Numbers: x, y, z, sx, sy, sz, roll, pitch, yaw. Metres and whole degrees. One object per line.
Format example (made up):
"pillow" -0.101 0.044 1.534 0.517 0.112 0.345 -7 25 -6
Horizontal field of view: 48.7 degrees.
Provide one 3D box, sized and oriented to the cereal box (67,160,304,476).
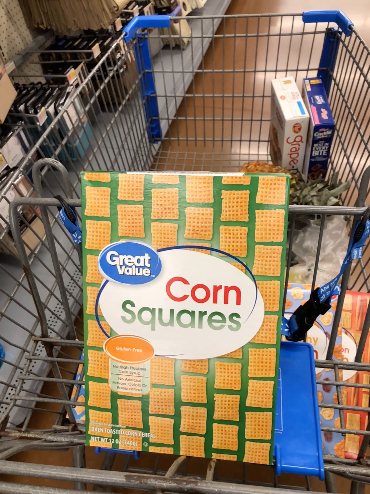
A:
"cereal box" -0.001 0.061 0.398 0.200 0.280 0.070 2 9 8
